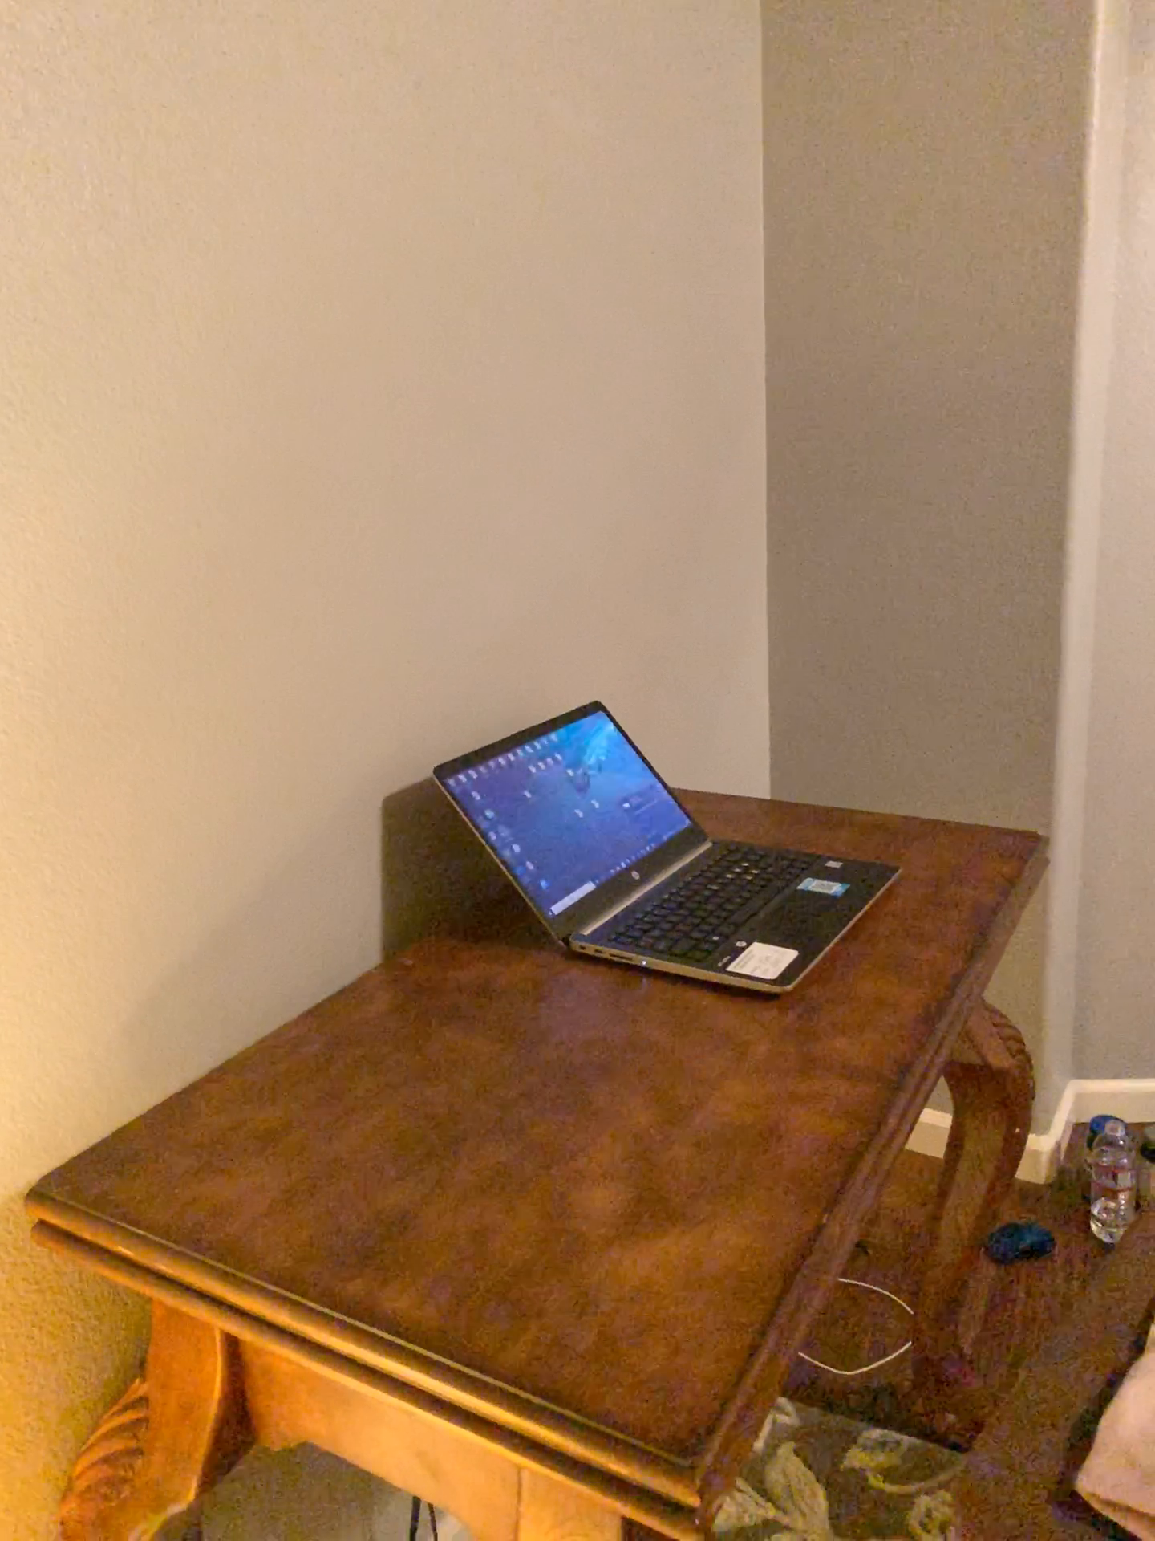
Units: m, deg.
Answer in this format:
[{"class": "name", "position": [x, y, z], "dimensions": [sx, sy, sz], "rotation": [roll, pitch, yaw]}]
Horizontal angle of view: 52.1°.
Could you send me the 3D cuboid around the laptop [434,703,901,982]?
[{"class": "laptop", "position": [0.103, 0.050, 1.221], "dimensions": [0.367, 0.152, 0.318], "rotation": [7, 18, 31]}]
